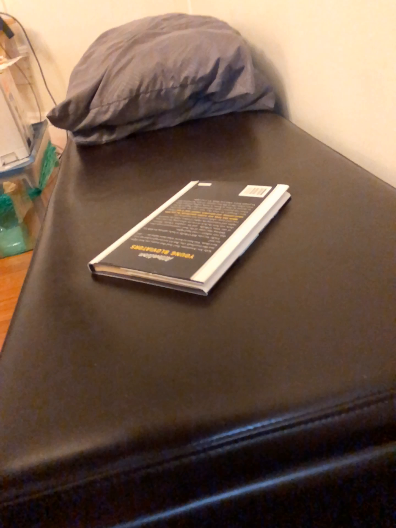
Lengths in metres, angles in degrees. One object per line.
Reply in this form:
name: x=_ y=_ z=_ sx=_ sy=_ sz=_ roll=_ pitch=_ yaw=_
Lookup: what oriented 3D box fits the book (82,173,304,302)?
book: x=0.005 y=-0.047 z=0.498 sx=0.160 sy=0.020 sz=0.231 roll=9 pitch=37 yaw=31
